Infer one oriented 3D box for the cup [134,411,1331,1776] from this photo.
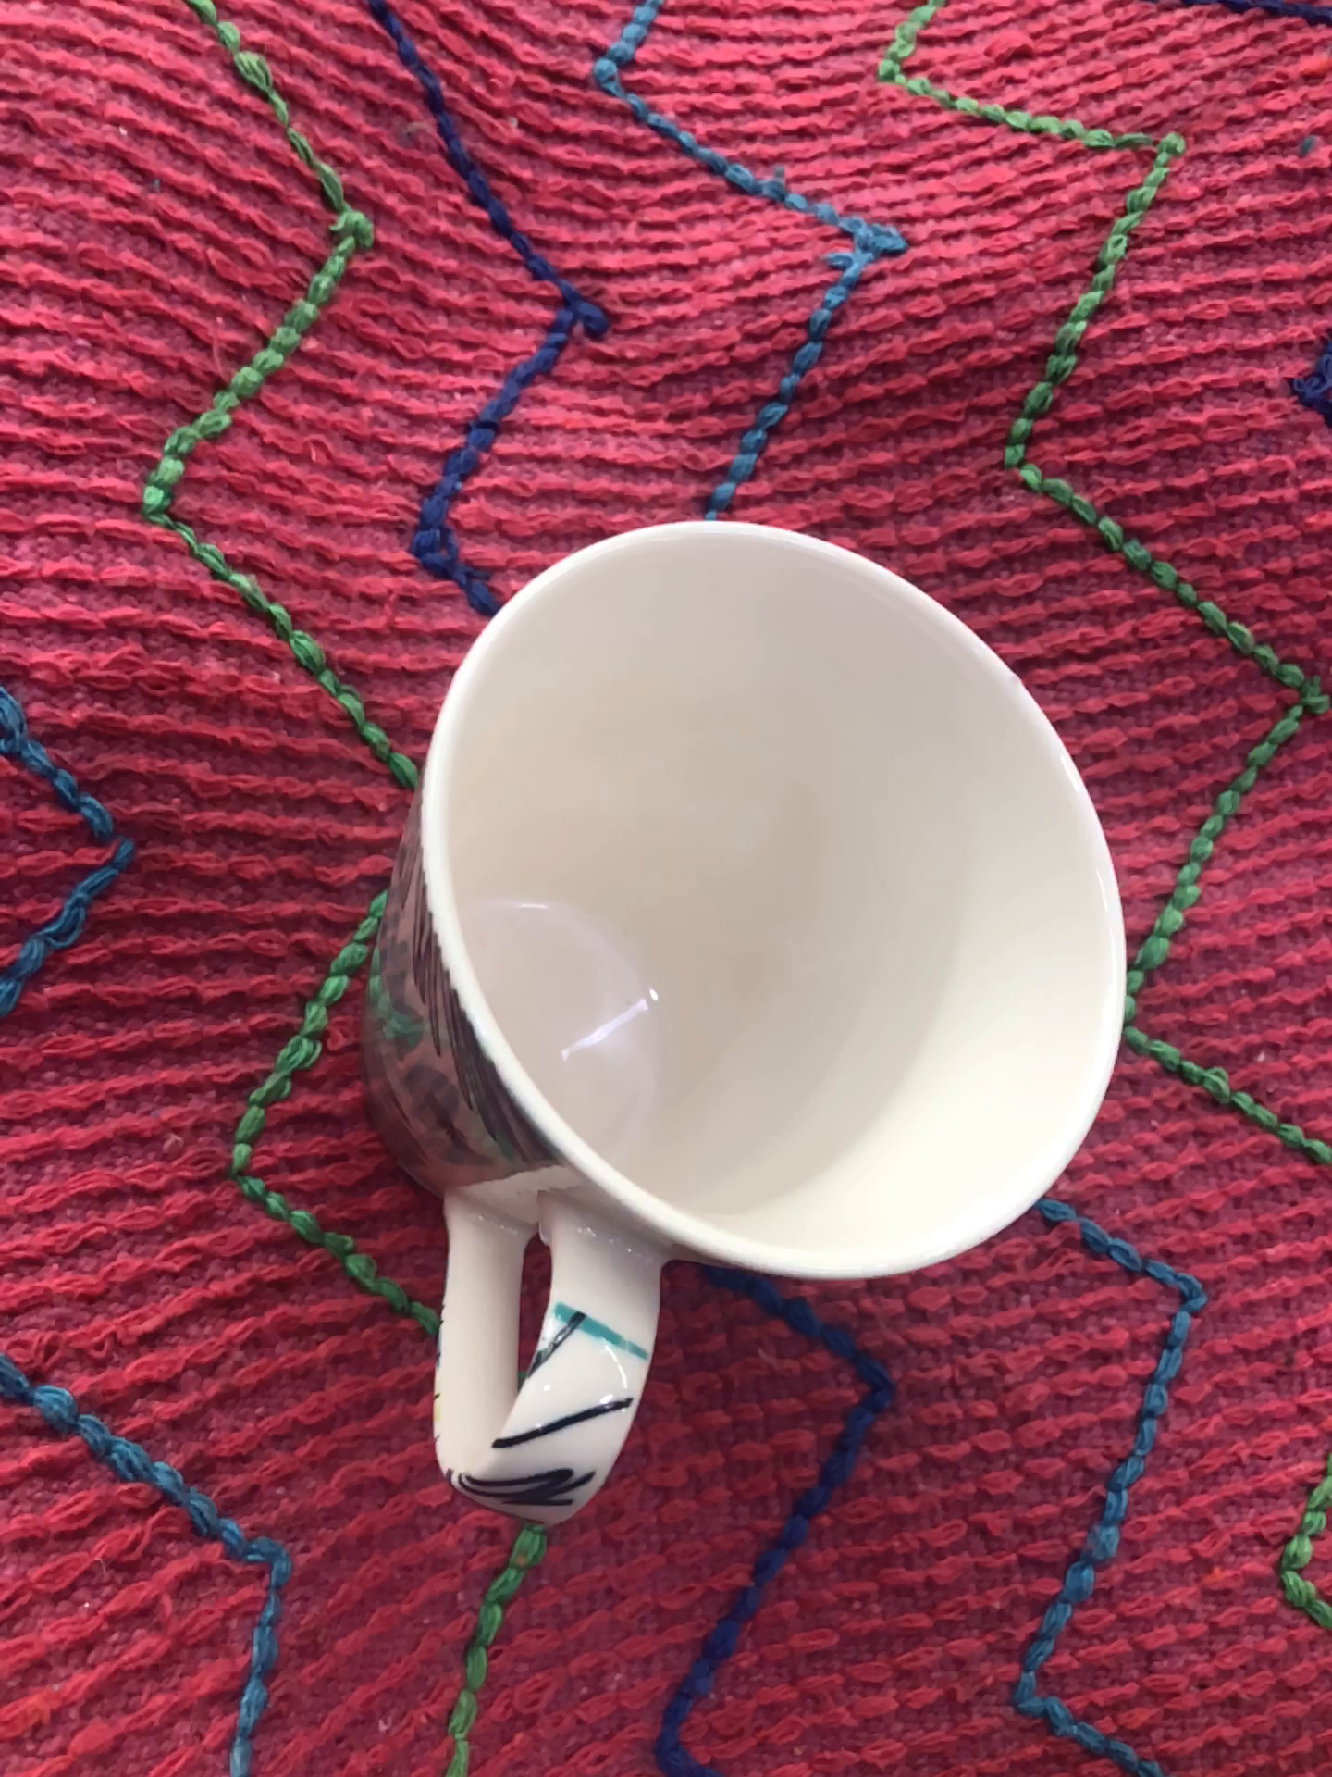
[{"bbox_3d":[0.004,0.026,0.183,0.090,0.080,0.110,27,73,-14],"label":"cup"}]
